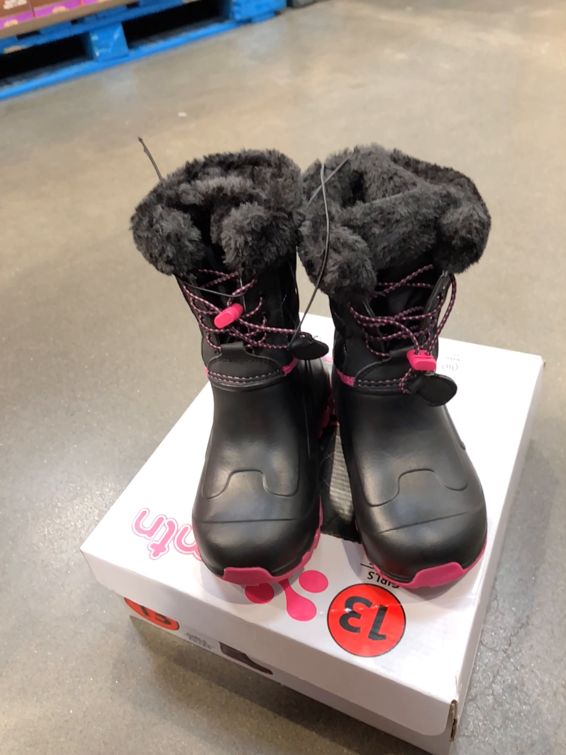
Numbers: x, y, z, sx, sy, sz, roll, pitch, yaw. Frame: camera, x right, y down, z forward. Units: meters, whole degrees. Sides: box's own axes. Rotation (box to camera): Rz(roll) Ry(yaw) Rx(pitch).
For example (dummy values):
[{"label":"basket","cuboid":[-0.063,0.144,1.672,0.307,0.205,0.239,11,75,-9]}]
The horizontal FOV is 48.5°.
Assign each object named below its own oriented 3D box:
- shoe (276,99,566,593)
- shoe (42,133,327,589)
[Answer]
[{"label":"shoe","cuboid":[0.072,-0.024,0.420,0.110,0.229,0.221,-8,42,0]},{"label":"shoe","cuboid":[-0.034,-0.013,0.425,0.110,0.209,0.221,-2,42,7]}]
